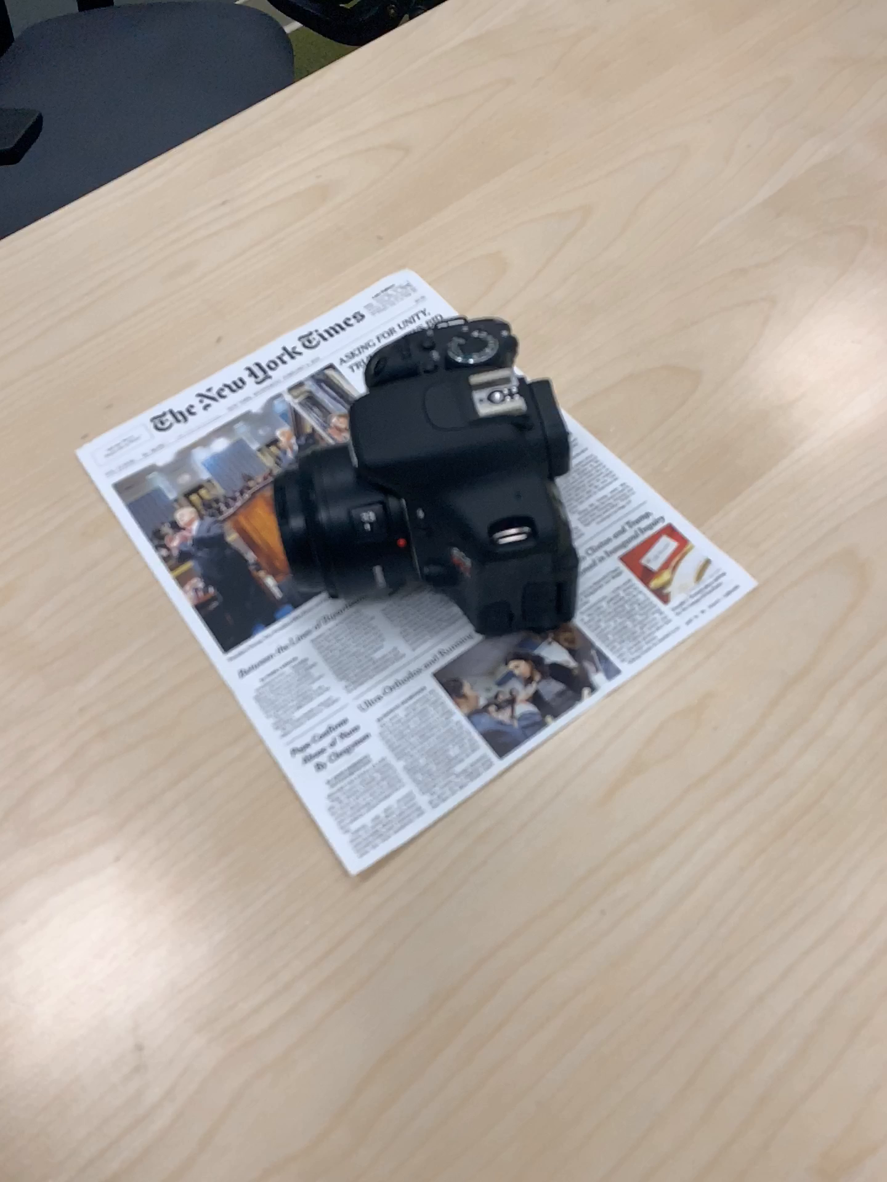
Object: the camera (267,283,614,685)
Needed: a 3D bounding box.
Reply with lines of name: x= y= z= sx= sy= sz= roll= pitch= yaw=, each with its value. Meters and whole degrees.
camera: x=-0.003 y=-0.045 z=0.398 sx=0.121 sy=0.100 sz=0.125 roll=-9 pitch=59 yaw=0
